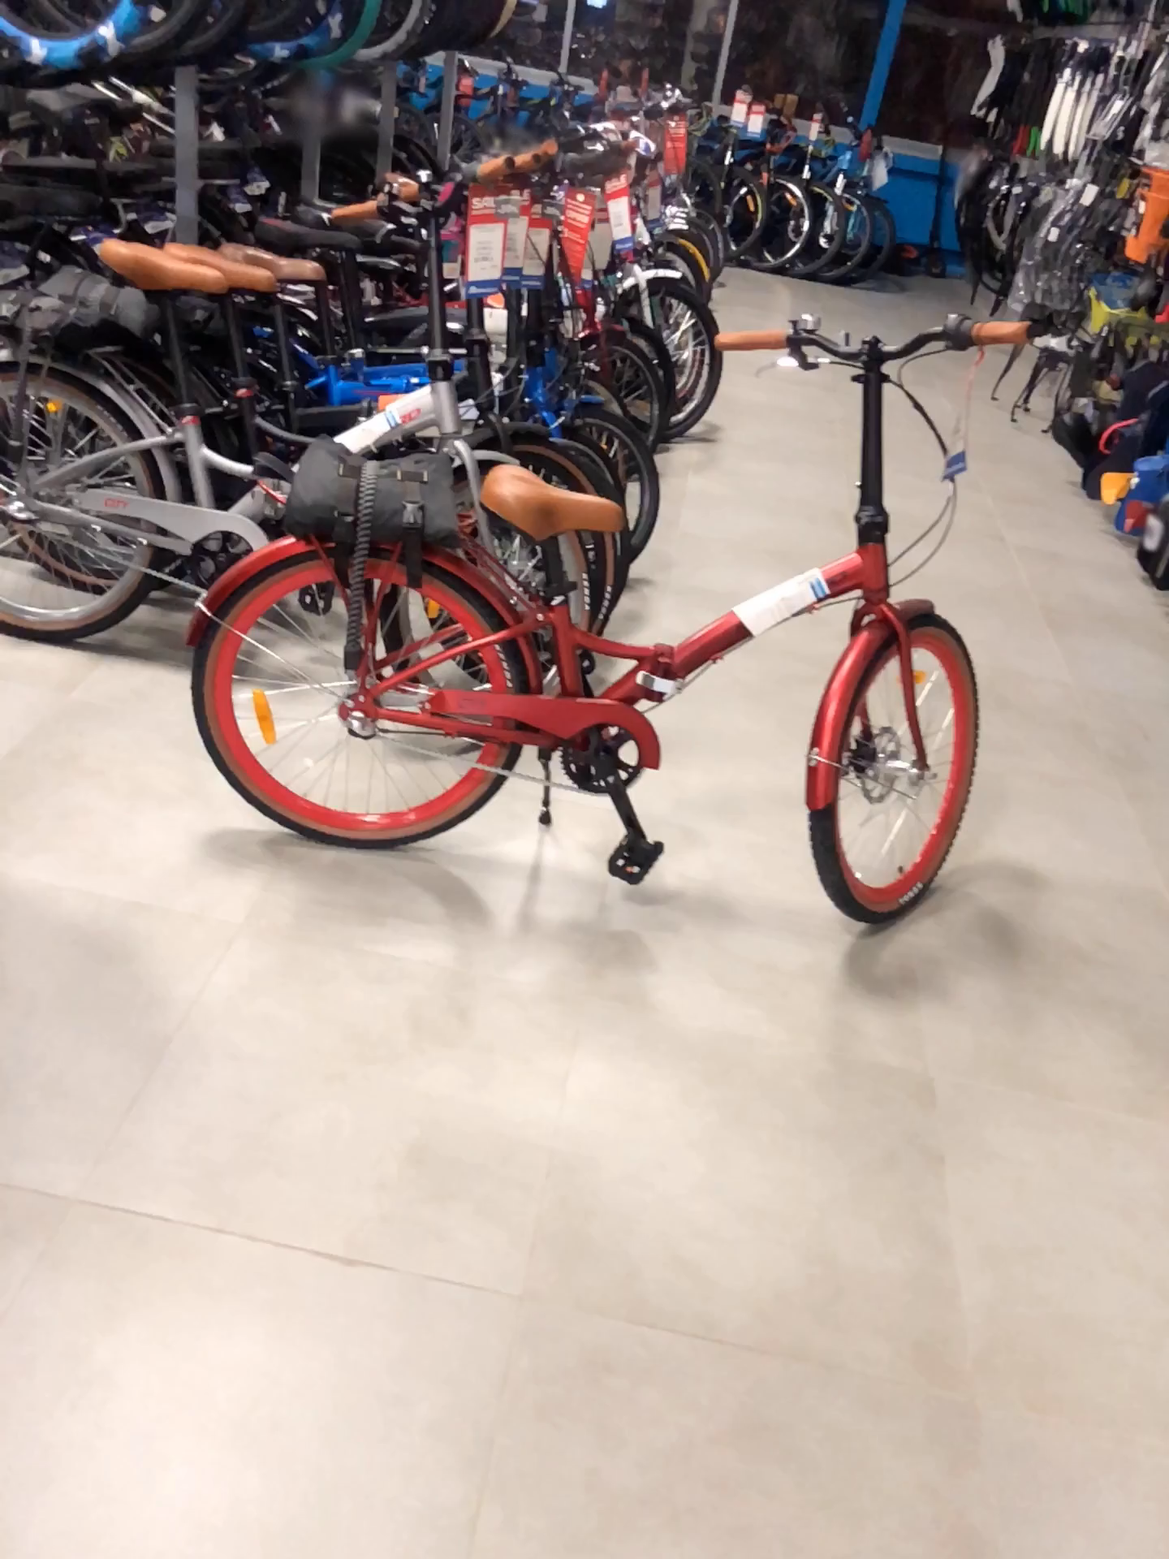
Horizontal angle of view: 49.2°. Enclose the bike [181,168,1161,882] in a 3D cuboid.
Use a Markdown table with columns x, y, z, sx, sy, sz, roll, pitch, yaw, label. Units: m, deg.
| x | y | z | sx | sy | sz | roll | pitch | yaw | label |
| --- | --- | --- | --- | --- | --- | --- | --- | --- | --- |
| 0.078 | -0.464 | 2.379 | 1.495 | 1.111 | 0.519 | -1 | 31 | -13 | bike |
